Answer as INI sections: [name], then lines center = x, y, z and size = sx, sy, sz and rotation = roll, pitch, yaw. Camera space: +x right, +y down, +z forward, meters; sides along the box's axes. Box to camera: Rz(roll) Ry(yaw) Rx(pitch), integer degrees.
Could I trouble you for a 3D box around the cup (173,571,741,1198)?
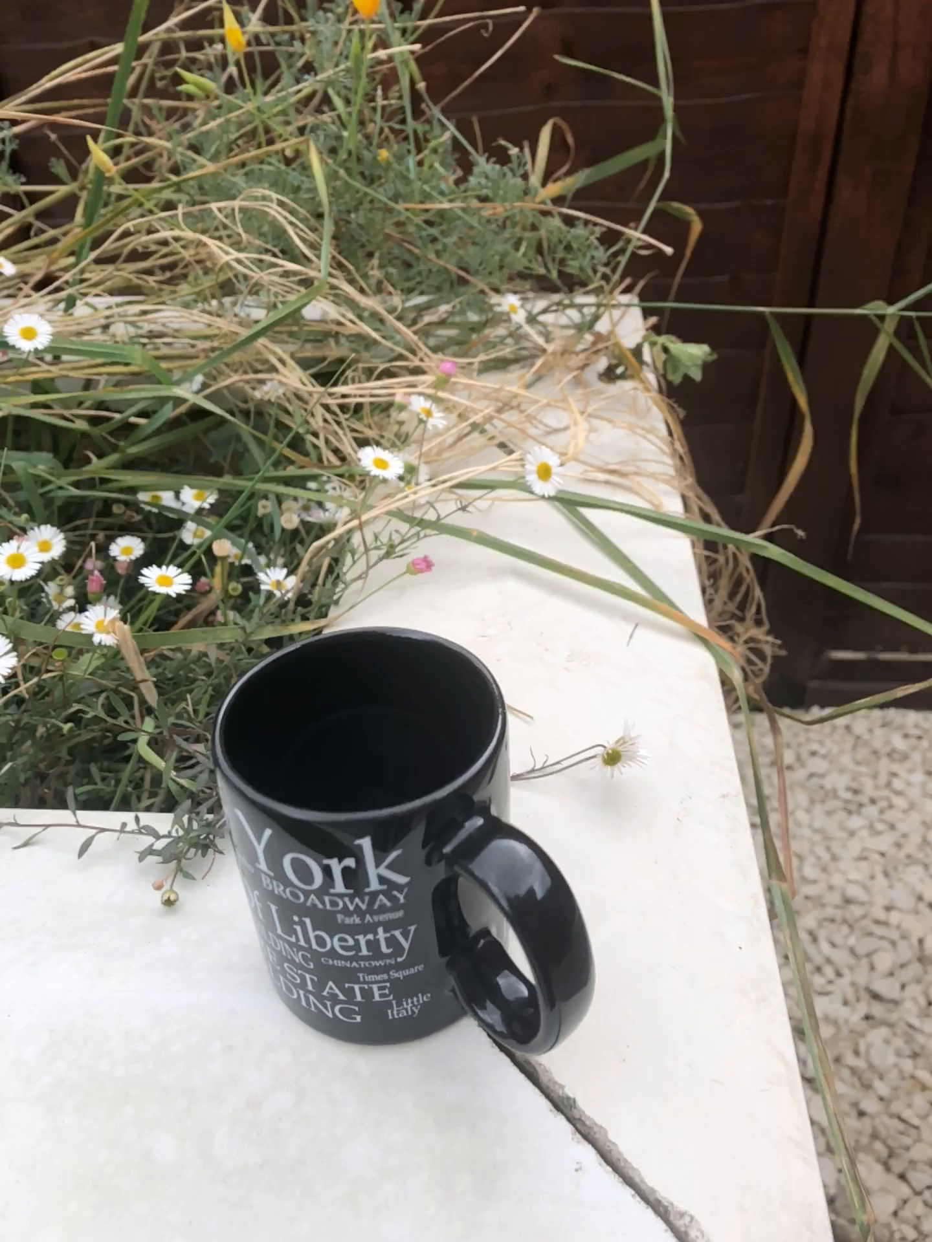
[cup]
center = -0.003, 0.047, 0.213
size = 0.090, 0.069, 0.060
rotation = 26, 43, 35
